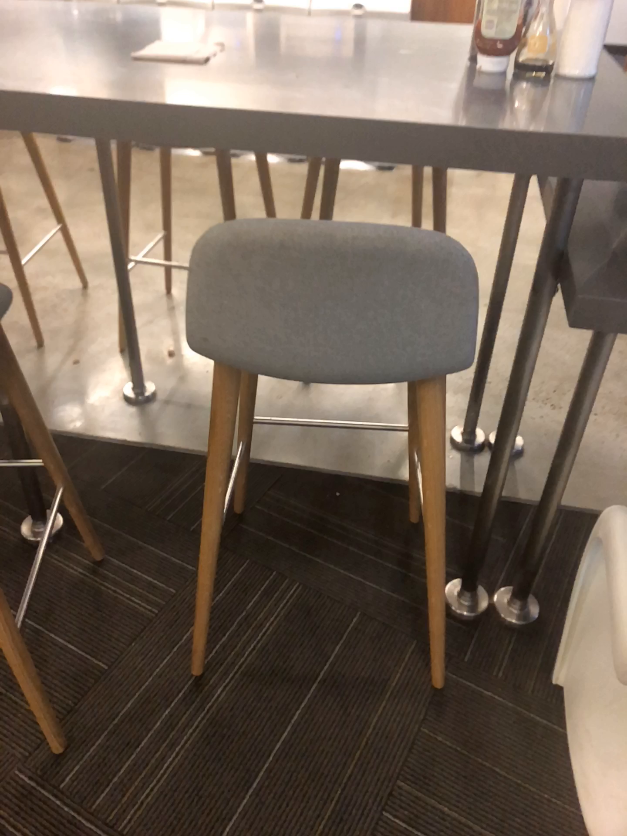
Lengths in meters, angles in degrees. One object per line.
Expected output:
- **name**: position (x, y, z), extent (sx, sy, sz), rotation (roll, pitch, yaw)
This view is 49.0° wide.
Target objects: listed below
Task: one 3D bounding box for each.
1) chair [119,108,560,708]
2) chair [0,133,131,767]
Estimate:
- **chair**: position (0.035, 0.012, 1.364), extent (0.540, 1.031, 0.545), rotation (3, 36, 2)
- **chair**: position (-0.716, 0.085, 1.179), extent (0.570, 0.942, 0.545), rotation (1, 36, -1)
